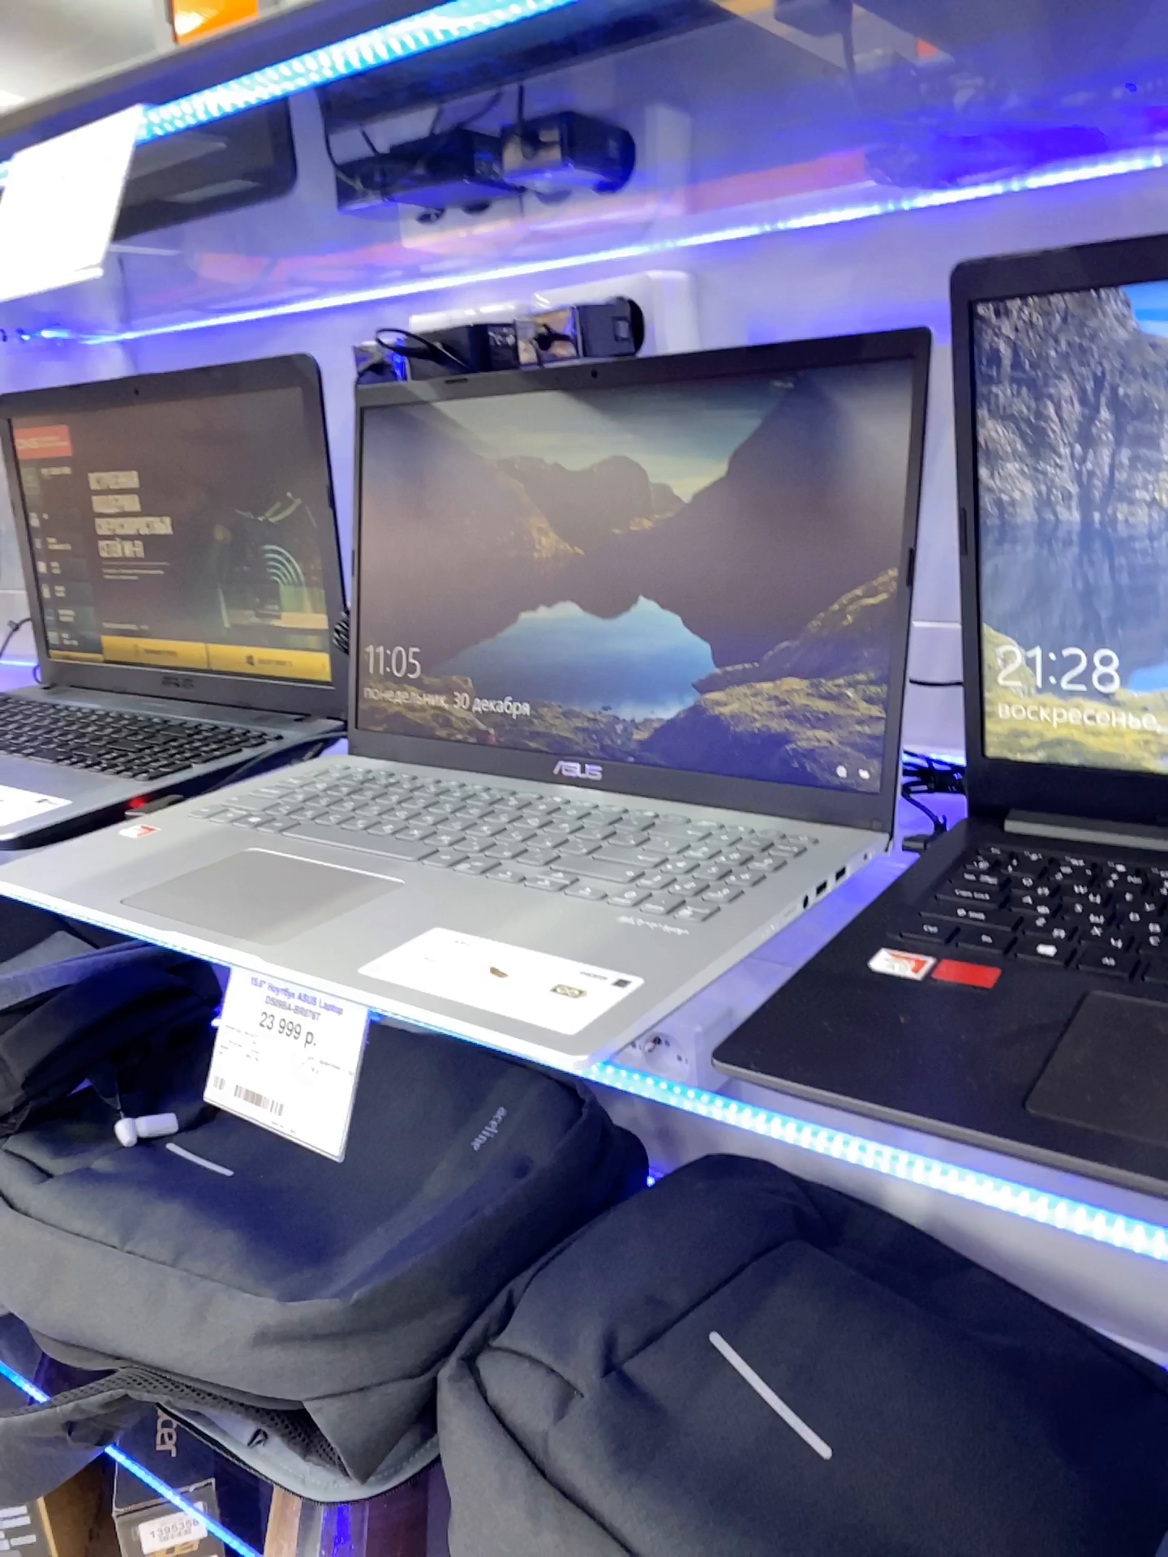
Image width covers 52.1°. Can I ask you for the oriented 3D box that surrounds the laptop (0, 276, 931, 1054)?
[{"bbox_3d":[-0.072,-0.075,0.543,0.361,0.217,0.285,7,19,36],"label":"laptop"}]
